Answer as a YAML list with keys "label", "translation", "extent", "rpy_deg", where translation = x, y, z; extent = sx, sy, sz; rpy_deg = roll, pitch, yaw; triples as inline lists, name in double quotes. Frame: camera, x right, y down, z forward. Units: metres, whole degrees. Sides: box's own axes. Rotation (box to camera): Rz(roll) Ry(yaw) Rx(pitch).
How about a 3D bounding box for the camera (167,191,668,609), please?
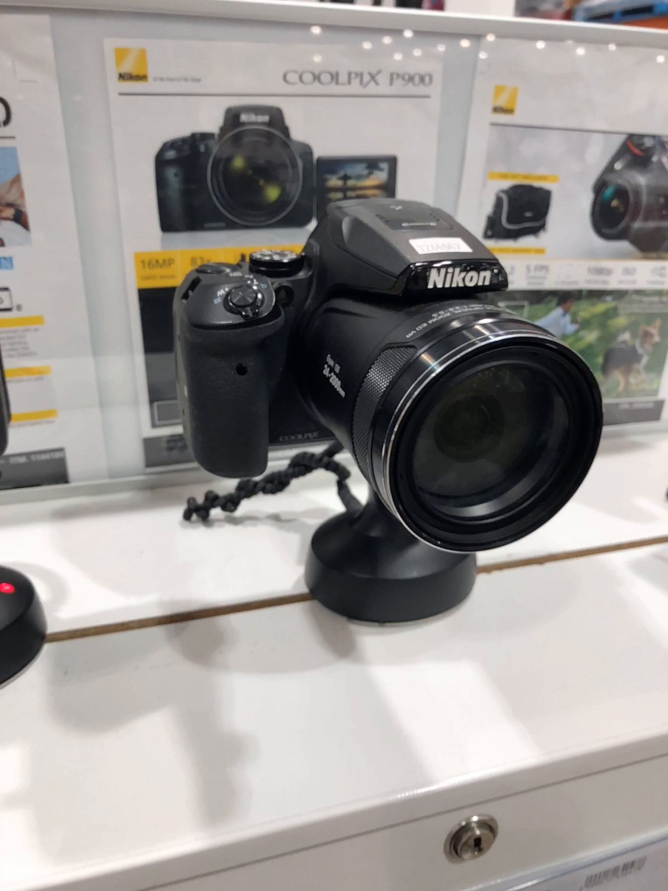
- label: "camera"
  translation: [0.020, -0.037, 0.287]
  extent: [0.140, 0.100, 0.161]
  rpy_deg: [-6, 25, -18]
